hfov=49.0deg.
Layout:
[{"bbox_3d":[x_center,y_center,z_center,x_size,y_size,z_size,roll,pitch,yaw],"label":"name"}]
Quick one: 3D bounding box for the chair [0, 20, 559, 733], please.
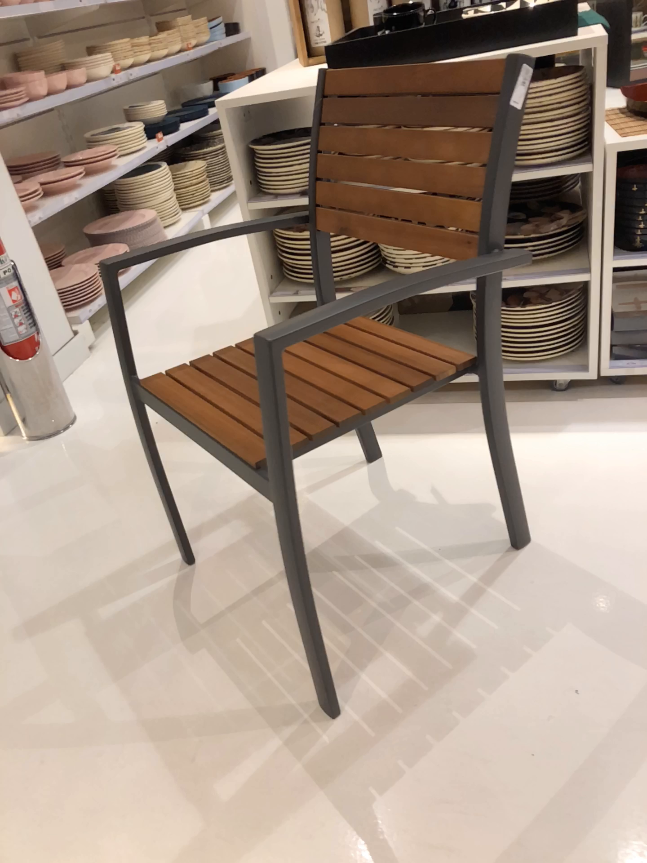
[{"bbox_3d":[-0.053,-0.126,1.124,0.531,0.784,0.593,-28,34,-25],"label":"chair"}]
